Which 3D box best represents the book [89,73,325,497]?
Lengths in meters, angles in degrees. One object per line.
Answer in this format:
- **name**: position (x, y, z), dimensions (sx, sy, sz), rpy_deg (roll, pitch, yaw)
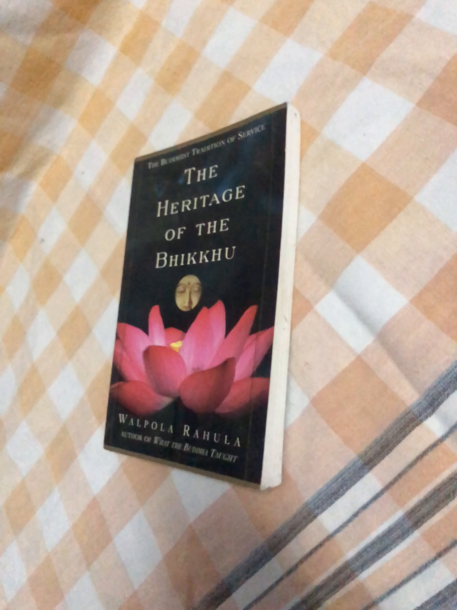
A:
- **book**: position (-0.017, -0.012, 0.313), dimensions (0.140, 0.030, 0.220), rpy_deg (-3, 77, 39)
